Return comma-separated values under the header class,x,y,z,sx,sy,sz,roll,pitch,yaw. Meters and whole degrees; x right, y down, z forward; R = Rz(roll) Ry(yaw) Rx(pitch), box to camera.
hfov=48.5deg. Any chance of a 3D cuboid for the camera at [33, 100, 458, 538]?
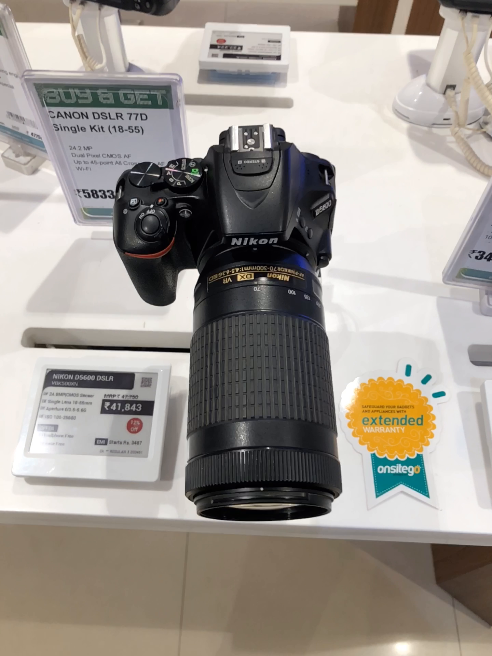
class,x,y,z,sx,sy,sz,roll,pitch,yaw
camera,-0.001,-0.011,0.272,0.140,0.090,0.201,0,58,0
